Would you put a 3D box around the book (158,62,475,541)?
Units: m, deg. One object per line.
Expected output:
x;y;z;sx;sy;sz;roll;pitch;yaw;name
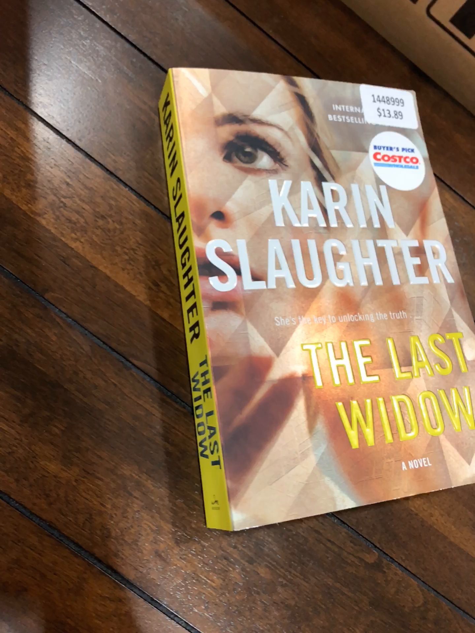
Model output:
0.048;-0.018;0.285;0.154;0.042;0.230;-3;73;-18;book
